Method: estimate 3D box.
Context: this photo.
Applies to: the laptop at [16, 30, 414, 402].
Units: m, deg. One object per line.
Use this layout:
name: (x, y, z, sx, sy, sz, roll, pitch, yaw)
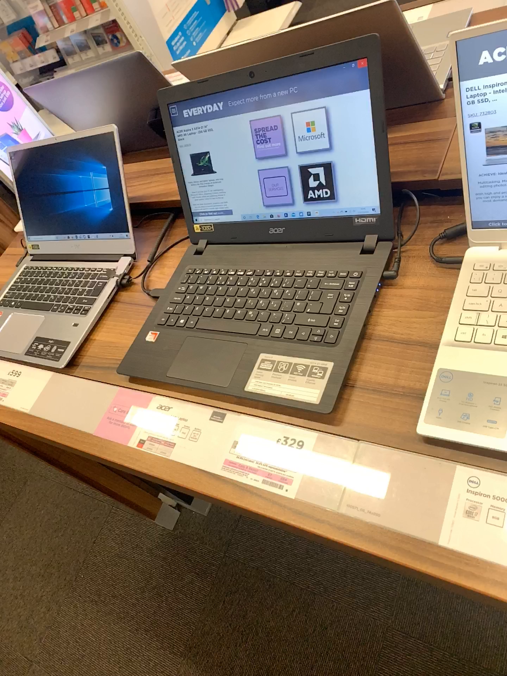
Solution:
laptop: (-0.028, -0.149, 0.642, 0.326, 0.193, 0.356, 6, 58, 35)
